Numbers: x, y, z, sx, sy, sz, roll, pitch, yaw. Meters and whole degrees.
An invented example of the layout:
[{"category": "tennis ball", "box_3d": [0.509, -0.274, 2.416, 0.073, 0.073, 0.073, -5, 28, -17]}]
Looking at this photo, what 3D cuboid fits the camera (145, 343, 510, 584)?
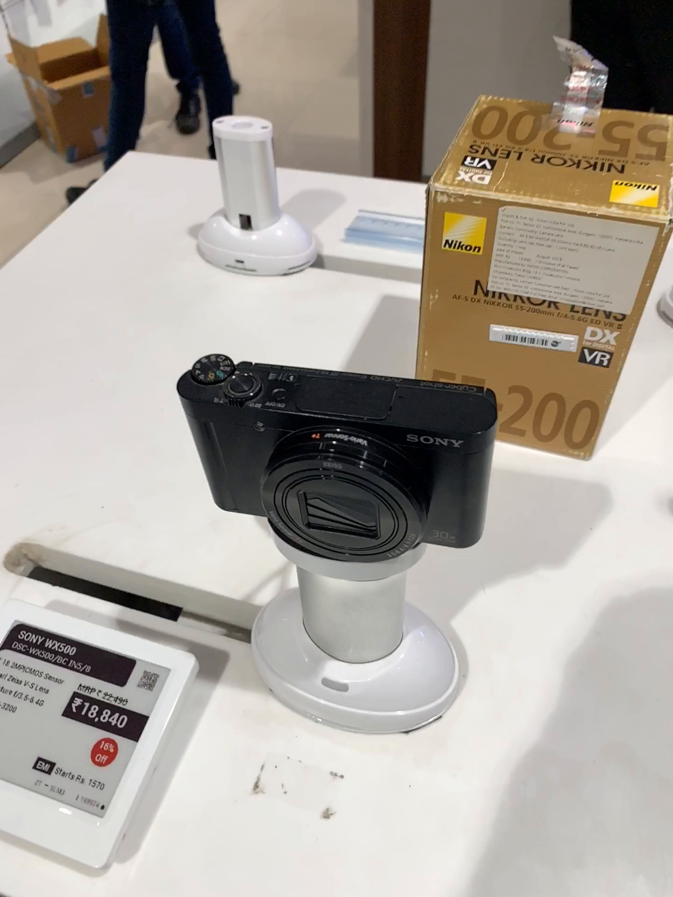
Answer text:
[{"category": "camera", "box_3d": [-0.001, 0.005, 0.219, 0.100, 0.060, 0.030, 9, 49, 11]}]
